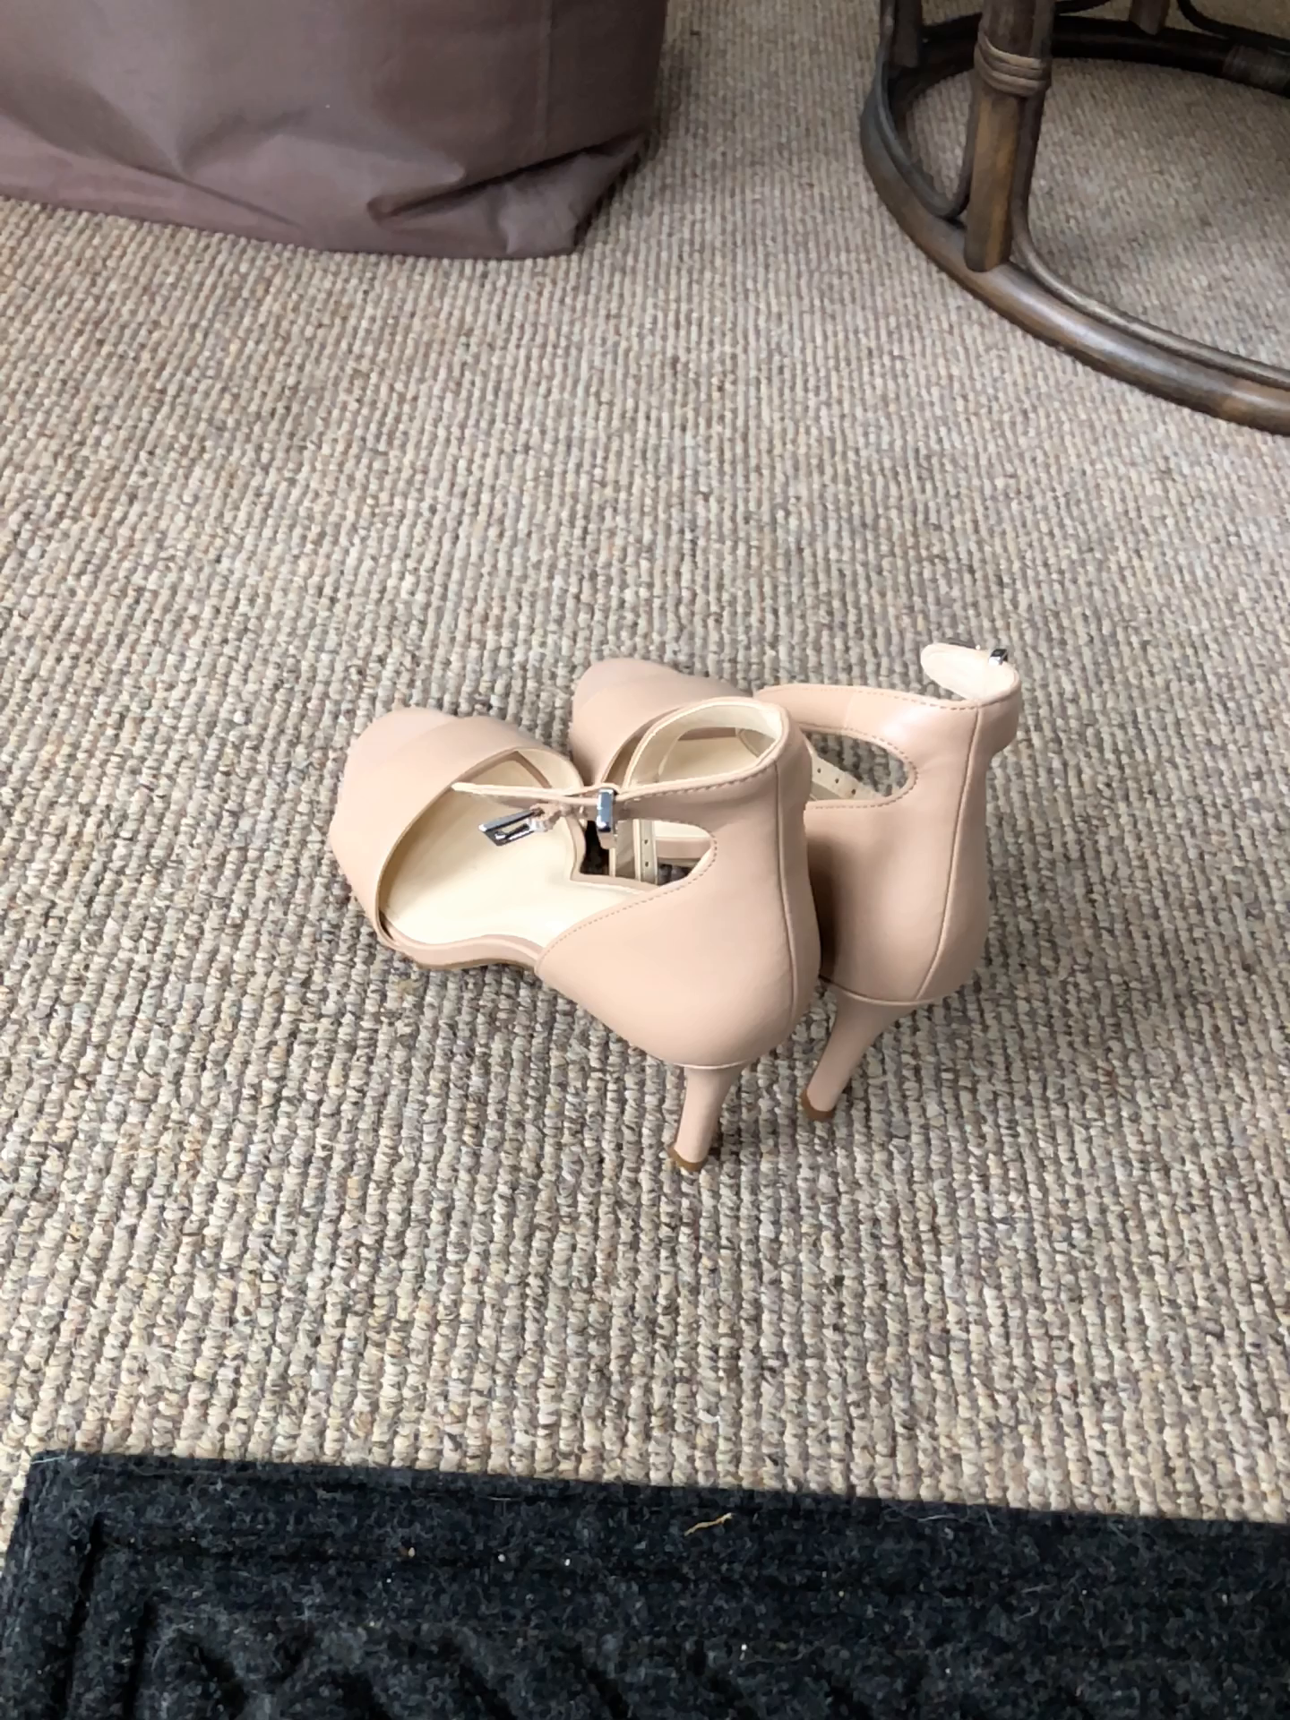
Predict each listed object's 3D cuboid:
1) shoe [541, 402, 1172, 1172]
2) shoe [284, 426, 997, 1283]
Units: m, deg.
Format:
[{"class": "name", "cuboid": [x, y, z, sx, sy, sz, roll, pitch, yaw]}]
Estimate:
[{"class": "shoe", "cuboid": [0.052, -0.031, 0.496, 0.099, 0.154, 0.207, -9, 53, -21]}, {"class": "shoe", "cuboid": [-0.020, -0.008, 0.450, 0.106, 0.144, 0.207, -21, 57, -29]}]
